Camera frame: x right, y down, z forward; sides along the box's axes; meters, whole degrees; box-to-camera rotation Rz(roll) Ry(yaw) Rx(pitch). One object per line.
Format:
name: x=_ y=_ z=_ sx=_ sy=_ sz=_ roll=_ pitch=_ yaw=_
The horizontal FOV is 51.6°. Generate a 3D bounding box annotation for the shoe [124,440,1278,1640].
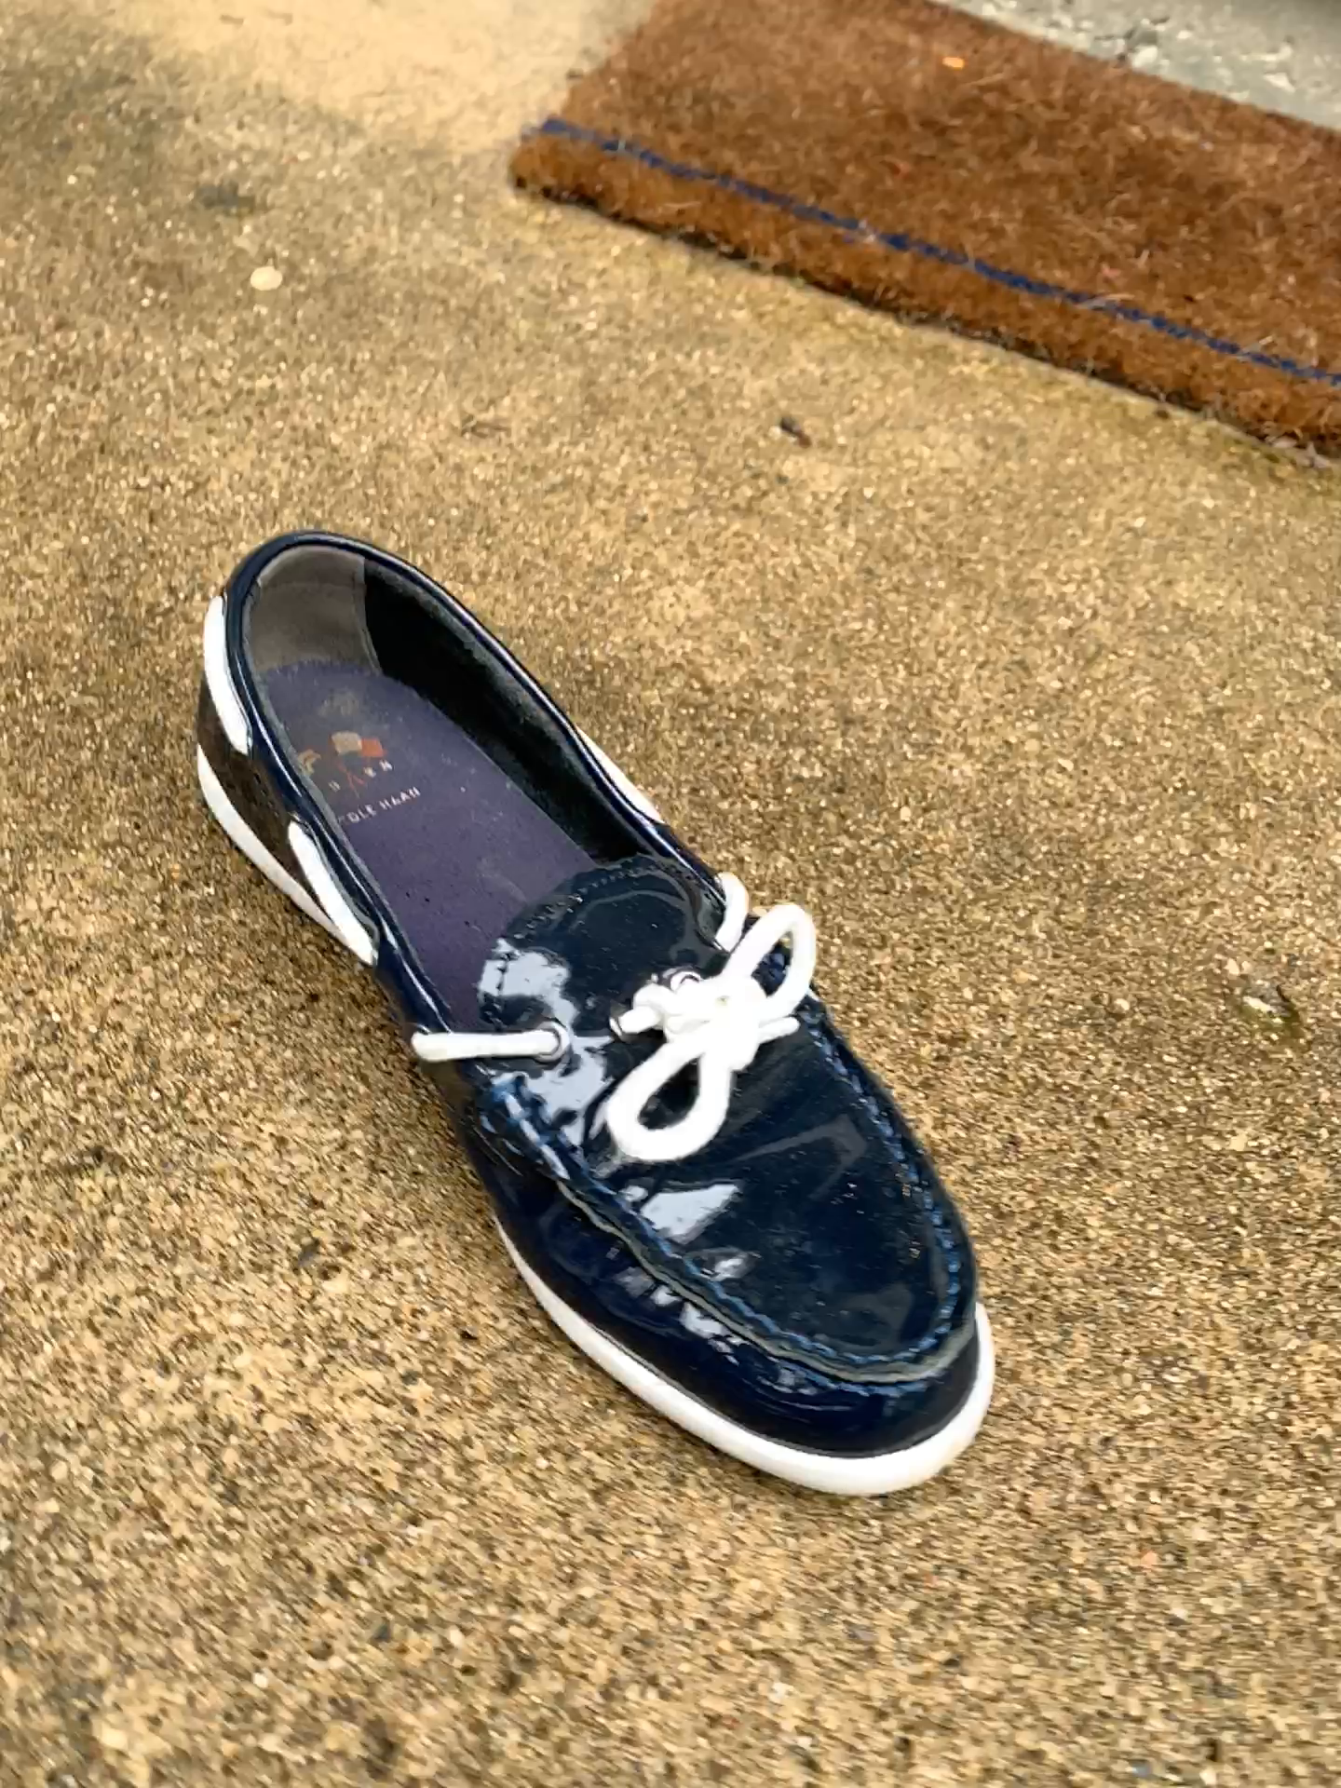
shoe: x=-0.013 y=0.011 z=0.305 sx=0.101 sy=0.083 sz=0.246 roll=-25 pitch=60 yaw=-34
